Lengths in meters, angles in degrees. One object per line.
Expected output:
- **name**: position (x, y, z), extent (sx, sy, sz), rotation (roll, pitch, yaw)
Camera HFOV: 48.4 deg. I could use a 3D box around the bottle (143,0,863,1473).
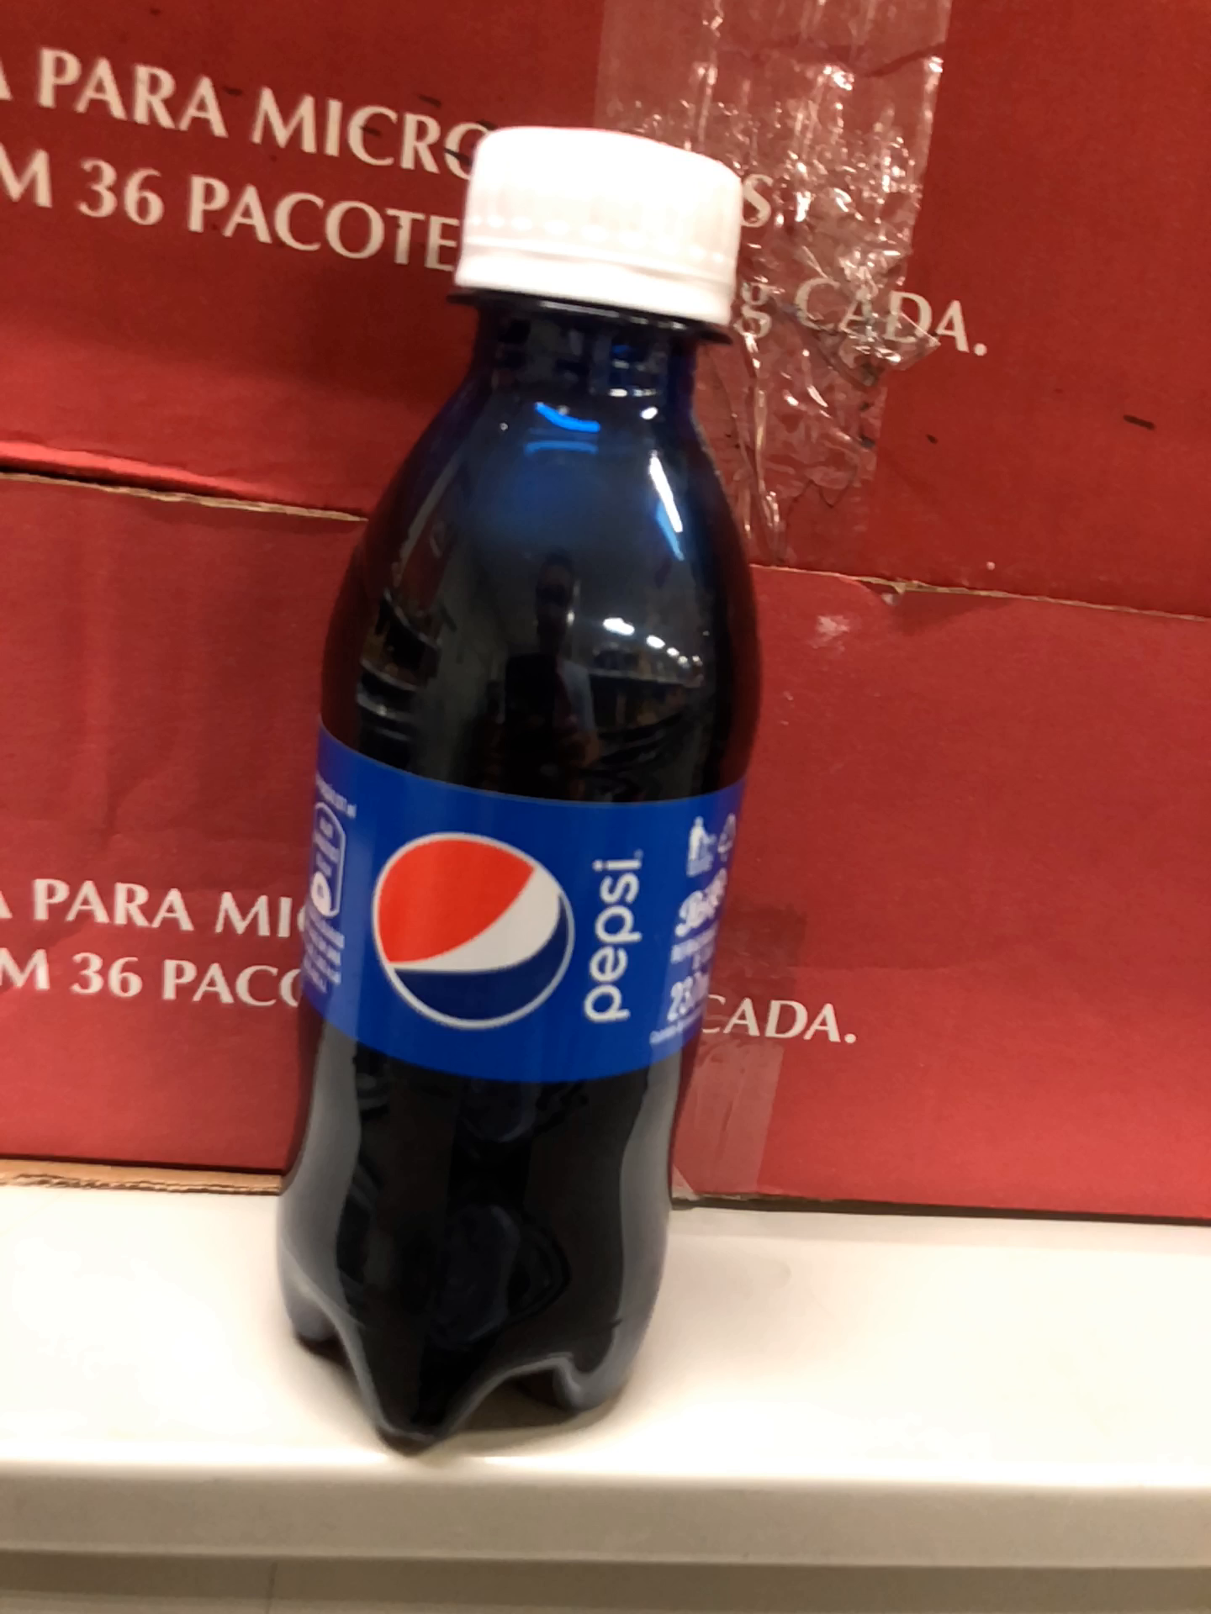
- **bottle**: position (-0.018, -0.004, 0.164), extent (0.060, 0.149, 0.060), rotation (4, 19, -2)
